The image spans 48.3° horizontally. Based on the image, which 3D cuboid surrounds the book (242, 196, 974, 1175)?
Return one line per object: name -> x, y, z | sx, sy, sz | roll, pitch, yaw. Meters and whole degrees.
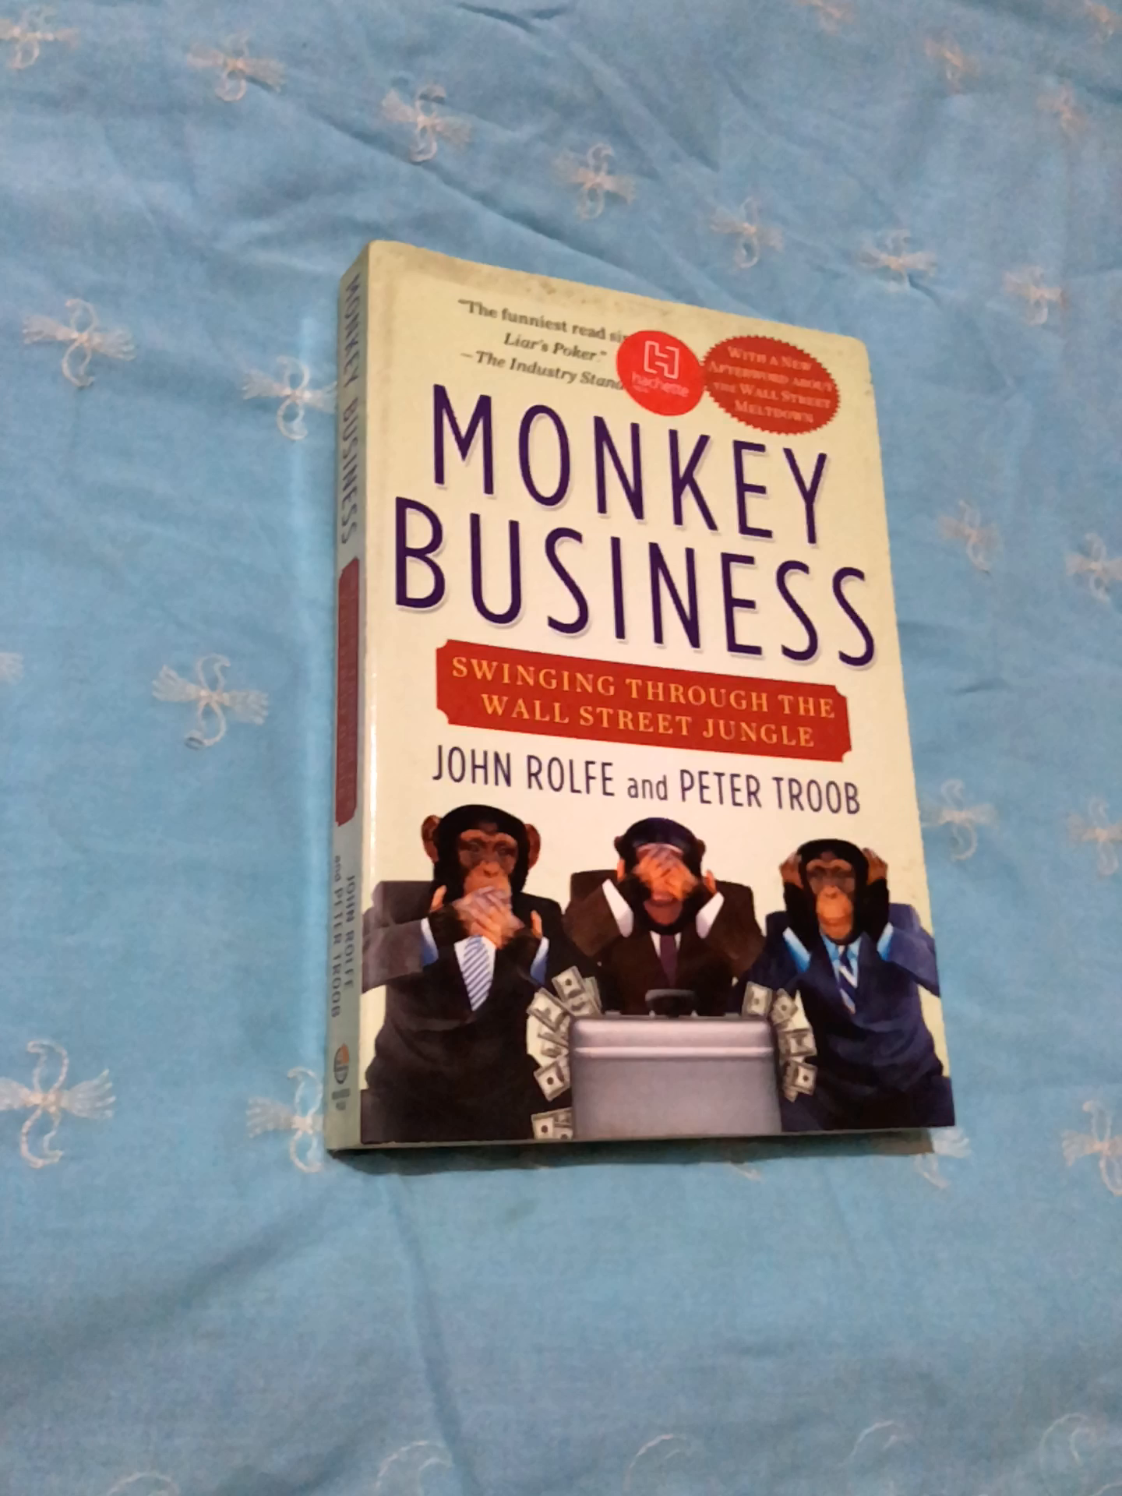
book -> 0.017, -0.014, 0.335 | 0.170, 0.040, 0.240 | 8, 69, -20
